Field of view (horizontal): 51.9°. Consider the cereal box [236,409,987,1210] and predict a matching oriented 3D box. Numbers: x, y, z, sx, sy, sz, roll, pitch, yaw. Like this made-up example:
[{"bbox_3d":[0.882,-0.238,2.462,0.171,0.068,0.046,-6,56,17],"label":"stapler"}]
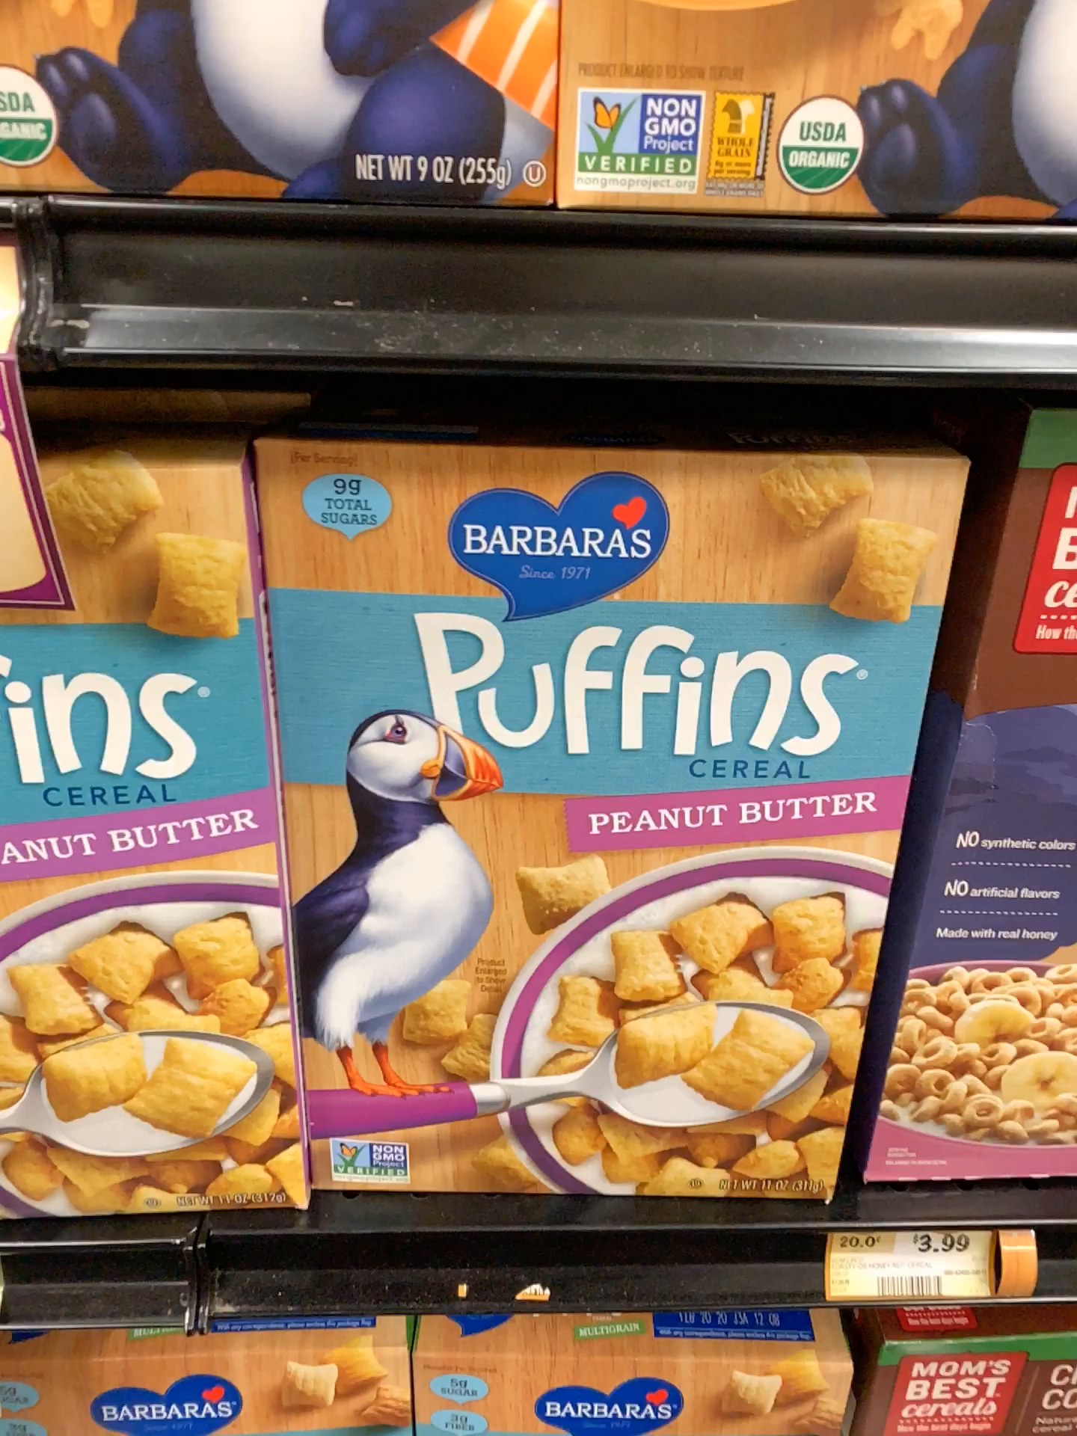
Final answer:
[{"bbox_3d":[0.016,0.036,0.373,0.200,0.259,0.070,1,21,-1],"label":"cereal box"}]
